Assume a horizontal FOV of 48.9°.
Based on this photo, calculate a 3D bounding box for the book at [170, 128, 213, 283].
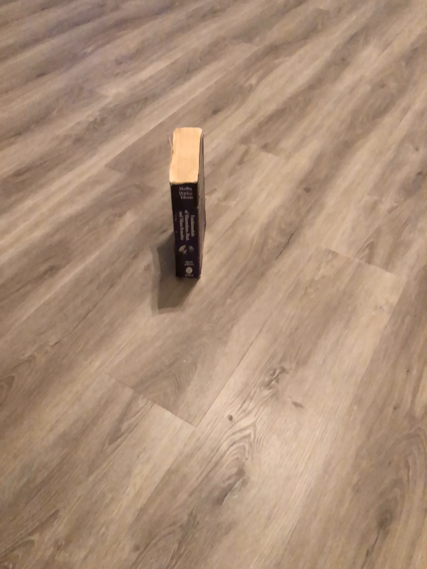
[{"bbox_3d":[-0.035,-0.134,0.827,0.060,0.219,0.155,-2,49,-1],"label":"book"}]
